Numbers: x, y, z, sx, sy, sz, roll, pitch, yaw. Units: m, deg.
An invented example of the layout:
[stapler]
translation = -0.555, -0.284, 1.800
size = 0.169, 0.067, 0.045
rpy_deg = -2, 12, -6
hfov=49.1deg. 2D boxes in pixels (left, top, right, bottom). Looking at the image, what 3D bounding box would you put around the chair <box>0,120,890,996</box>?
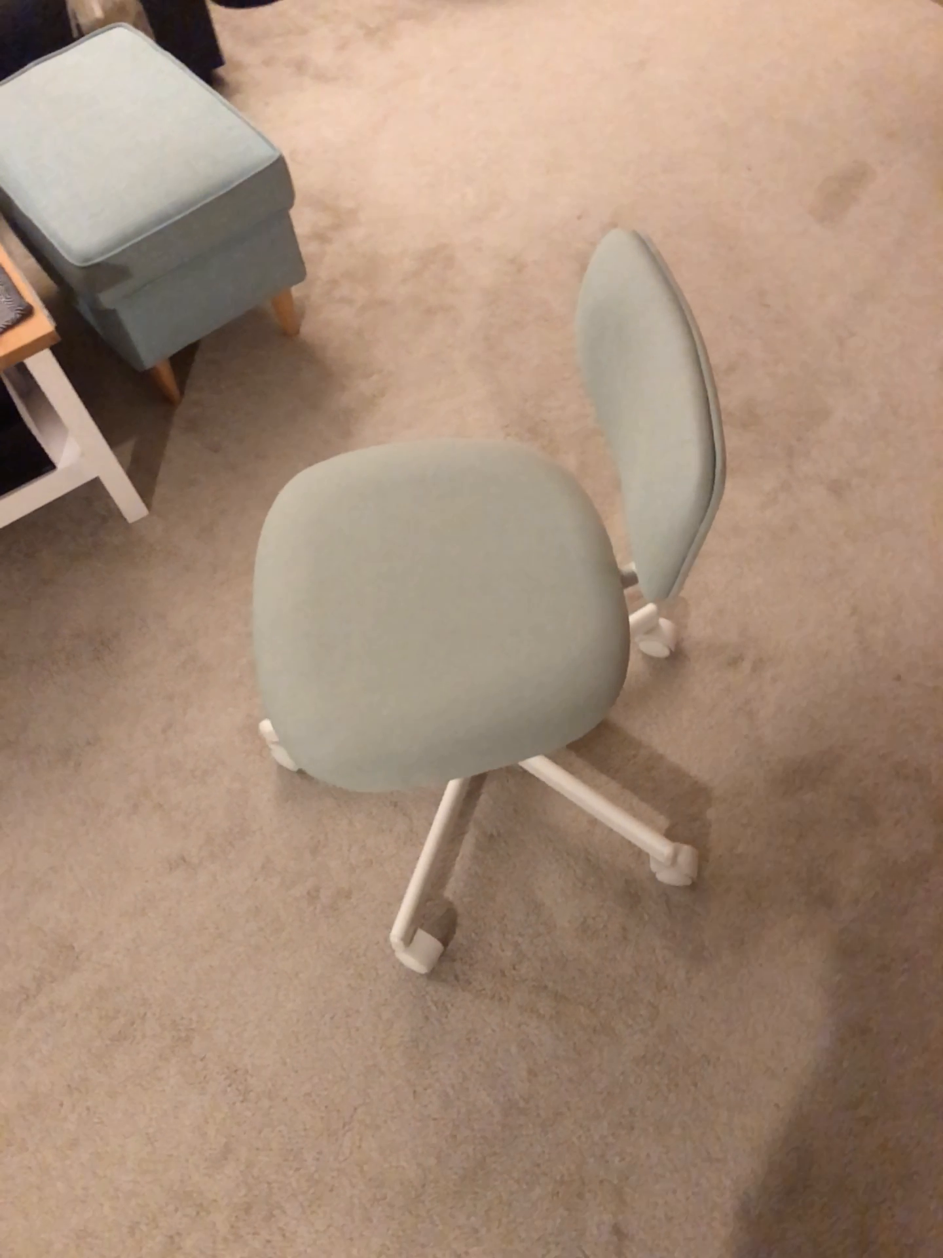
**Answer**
[chair]
translation = -0.016, -0.029, 1.190
size = 0.640, 0.677, 0.663
rpy_deg = -7, 58, 3
